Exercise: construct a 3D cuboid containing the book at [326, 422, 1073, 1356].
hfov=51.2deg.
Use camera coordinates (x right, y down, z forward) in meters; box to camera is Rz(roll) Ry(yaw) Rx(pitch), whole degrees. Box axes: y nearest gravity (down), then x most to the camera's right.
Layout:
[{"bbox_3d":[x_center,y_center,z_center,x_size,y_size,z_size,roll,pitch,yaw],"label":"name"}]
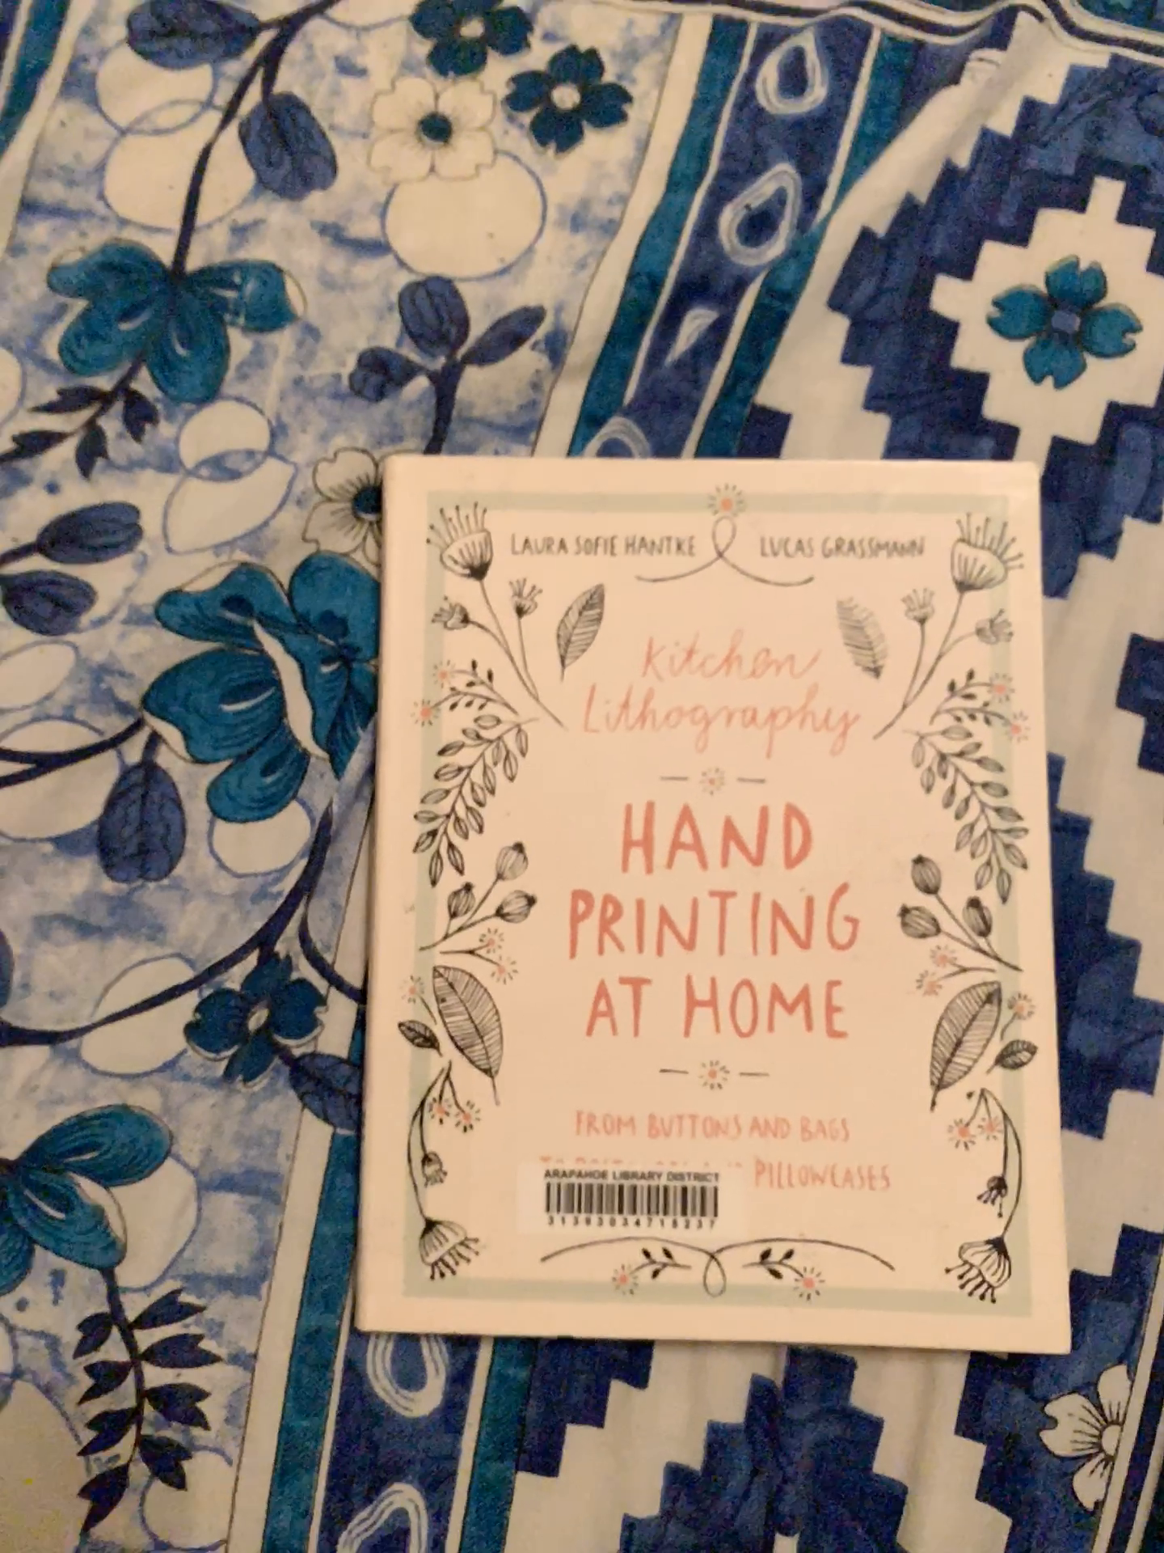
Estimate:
[{"bbox_3d":[0.029,0.022,0.301,0.170,0.020,0.220,1,82,2],"label":"book"}]
